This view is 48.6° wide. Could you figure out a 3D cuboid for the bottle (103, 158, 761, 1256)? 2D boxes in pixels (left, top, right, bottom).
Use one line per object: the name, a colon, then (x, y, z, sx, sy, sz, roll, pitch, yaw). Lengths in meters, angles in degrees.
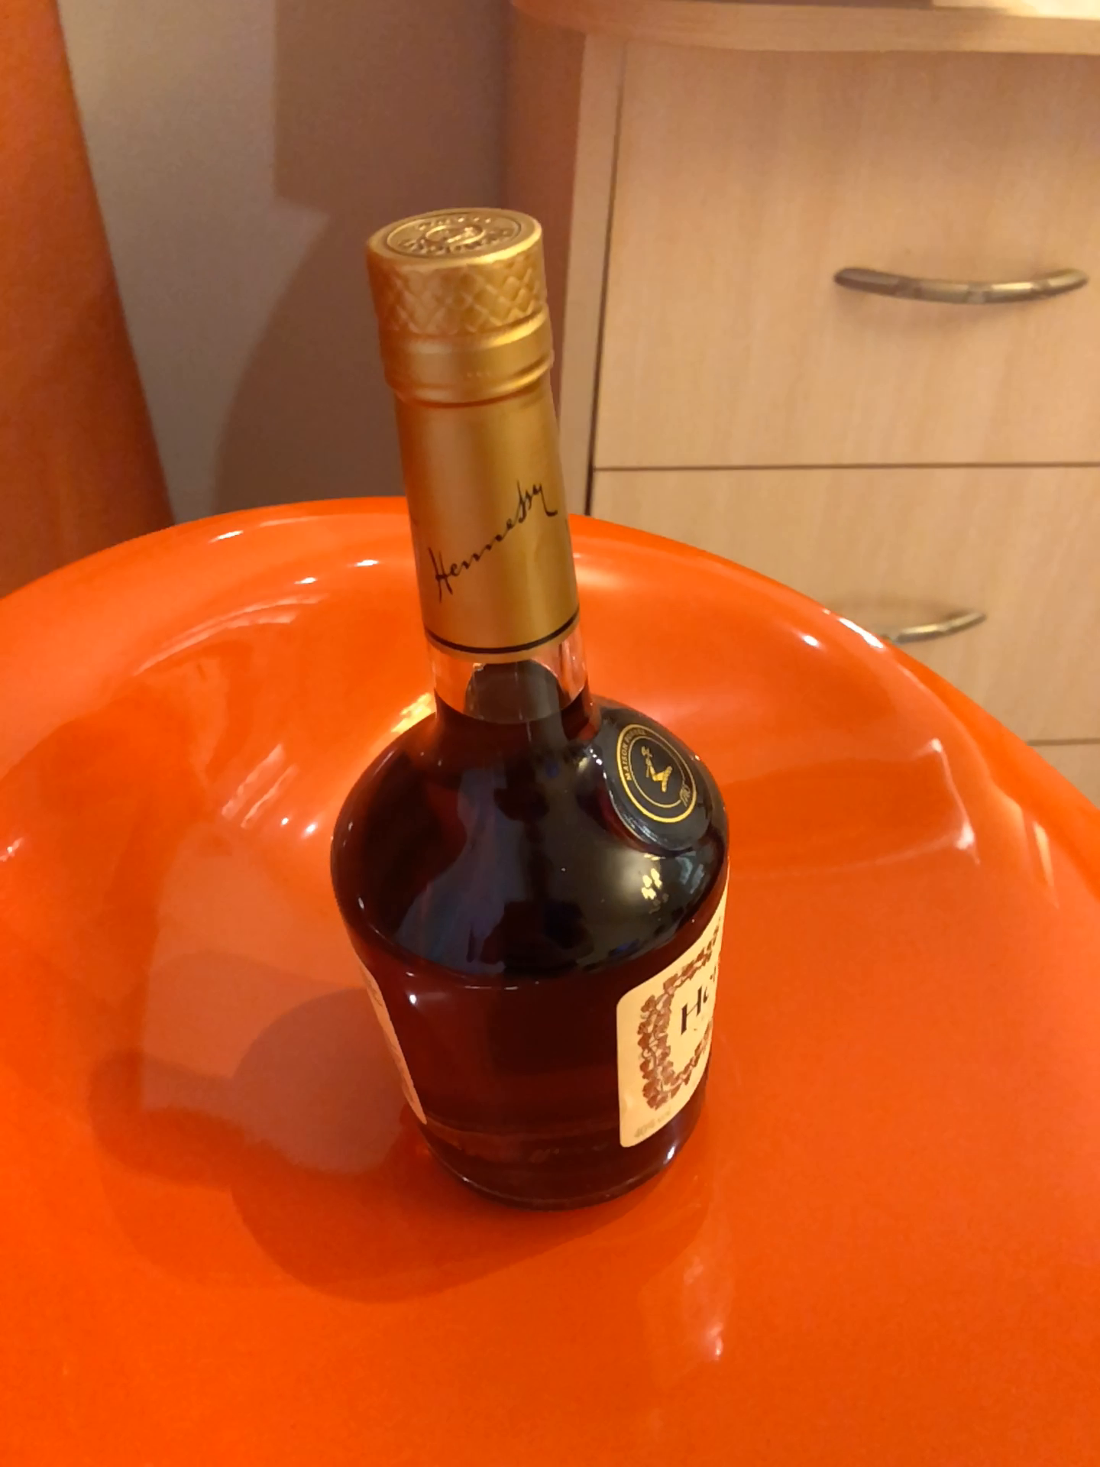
bottle: (-0.008, 0.007, 0.258, 0.079, 0.218, 0.079, -2, 38, 2)
